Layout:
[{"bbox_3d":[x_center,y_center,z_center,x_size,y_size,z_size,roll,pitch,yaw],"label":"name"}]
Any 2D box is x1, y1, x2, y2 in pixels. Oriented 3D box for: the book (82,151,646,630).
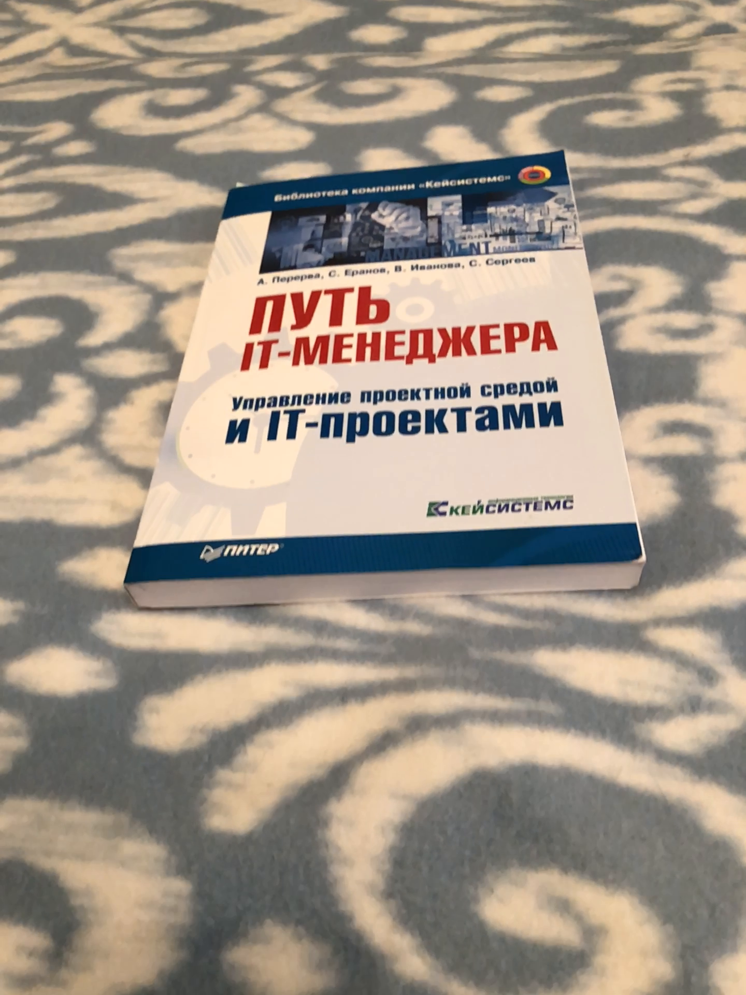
[{"bbox_3d":[-0.001,-0.057,0.328,0.173,0.019,0.229,-3,52,8],"label":"book"}]
